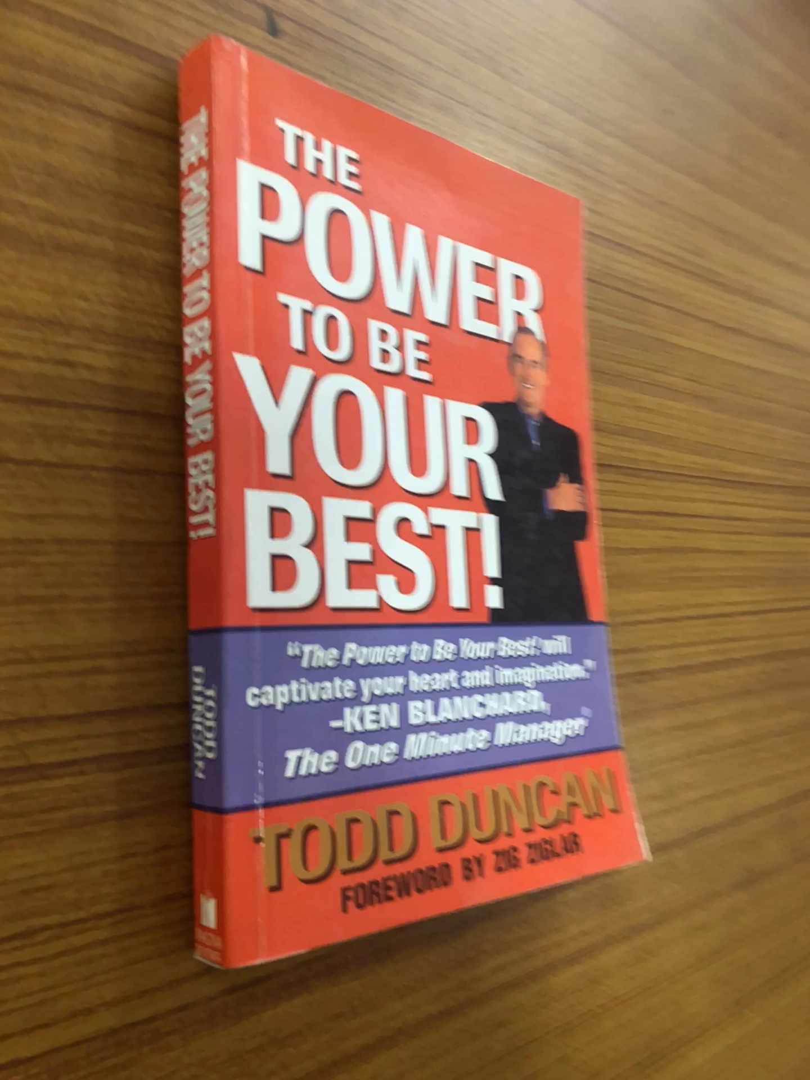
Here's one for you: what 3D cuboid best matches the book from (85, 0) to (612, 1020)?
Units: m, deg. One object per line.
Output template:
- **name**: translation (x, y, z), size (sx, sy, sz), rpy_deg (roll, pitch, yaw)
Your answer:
- **book**: translation (-0.008, -0.009, 0.252), size (0.151, 0.030, 0.220), rpy_deg (4, 81, -41)
